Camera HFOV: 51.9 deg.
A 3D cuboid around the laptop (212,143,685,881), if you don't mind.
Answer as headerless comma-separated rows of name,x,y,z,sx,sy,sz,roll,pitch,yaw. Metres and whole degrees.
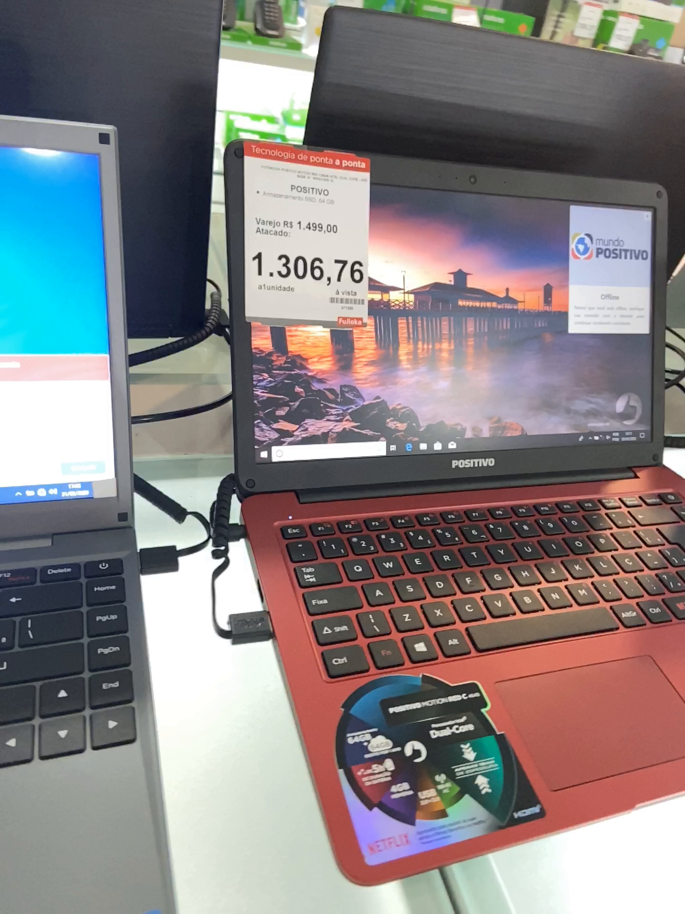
laptop,0.119,-0.022,0.385,0.320,0.167,0.335,-3,38,-20
